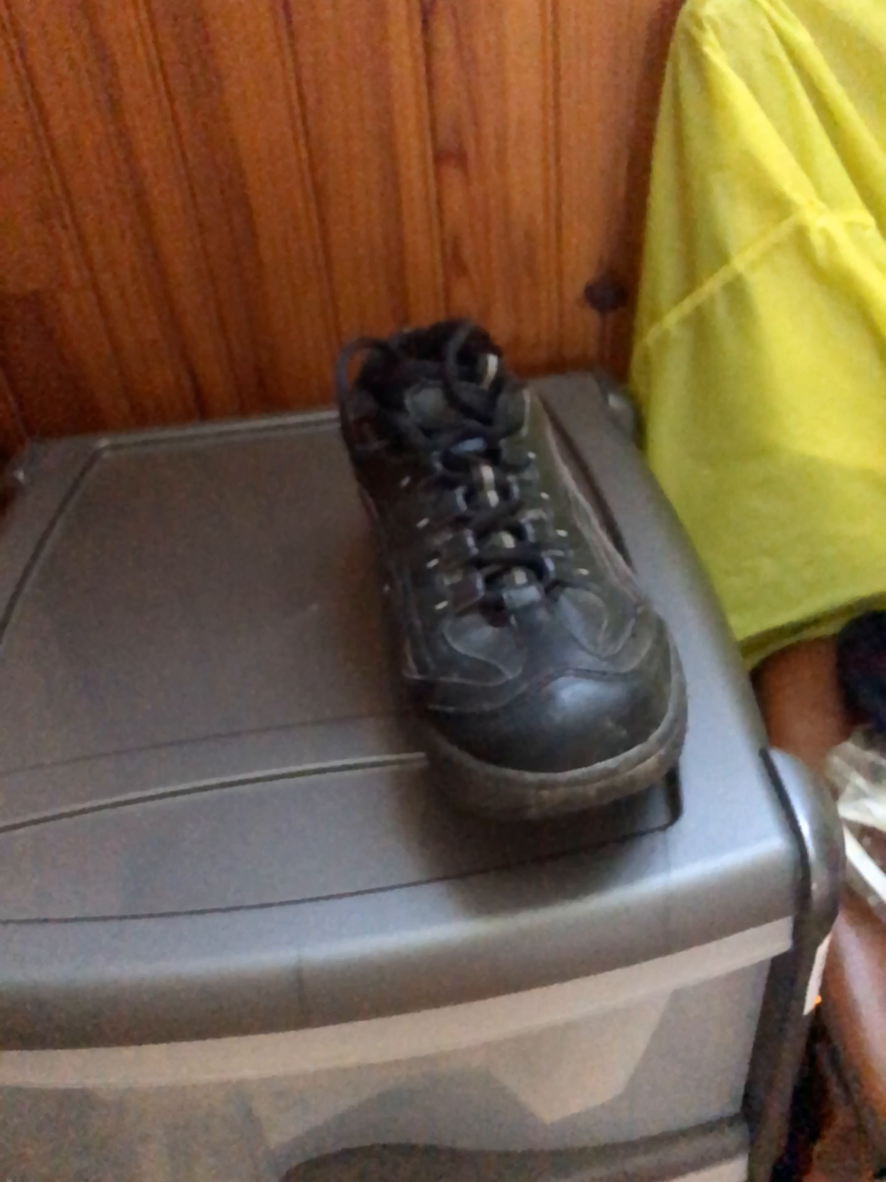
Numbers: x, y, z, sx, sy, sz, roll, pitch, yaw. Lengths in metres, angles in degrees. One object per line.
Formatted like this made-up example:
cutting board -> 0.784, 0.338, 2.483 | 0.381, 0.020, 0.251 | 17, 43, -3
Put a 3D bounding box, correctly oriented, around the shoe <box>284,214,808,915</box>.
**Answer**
shoe -> 0.017, -0.037, 0.394 | 0.110, 0.129, 0.271 | -12, 38, -7
